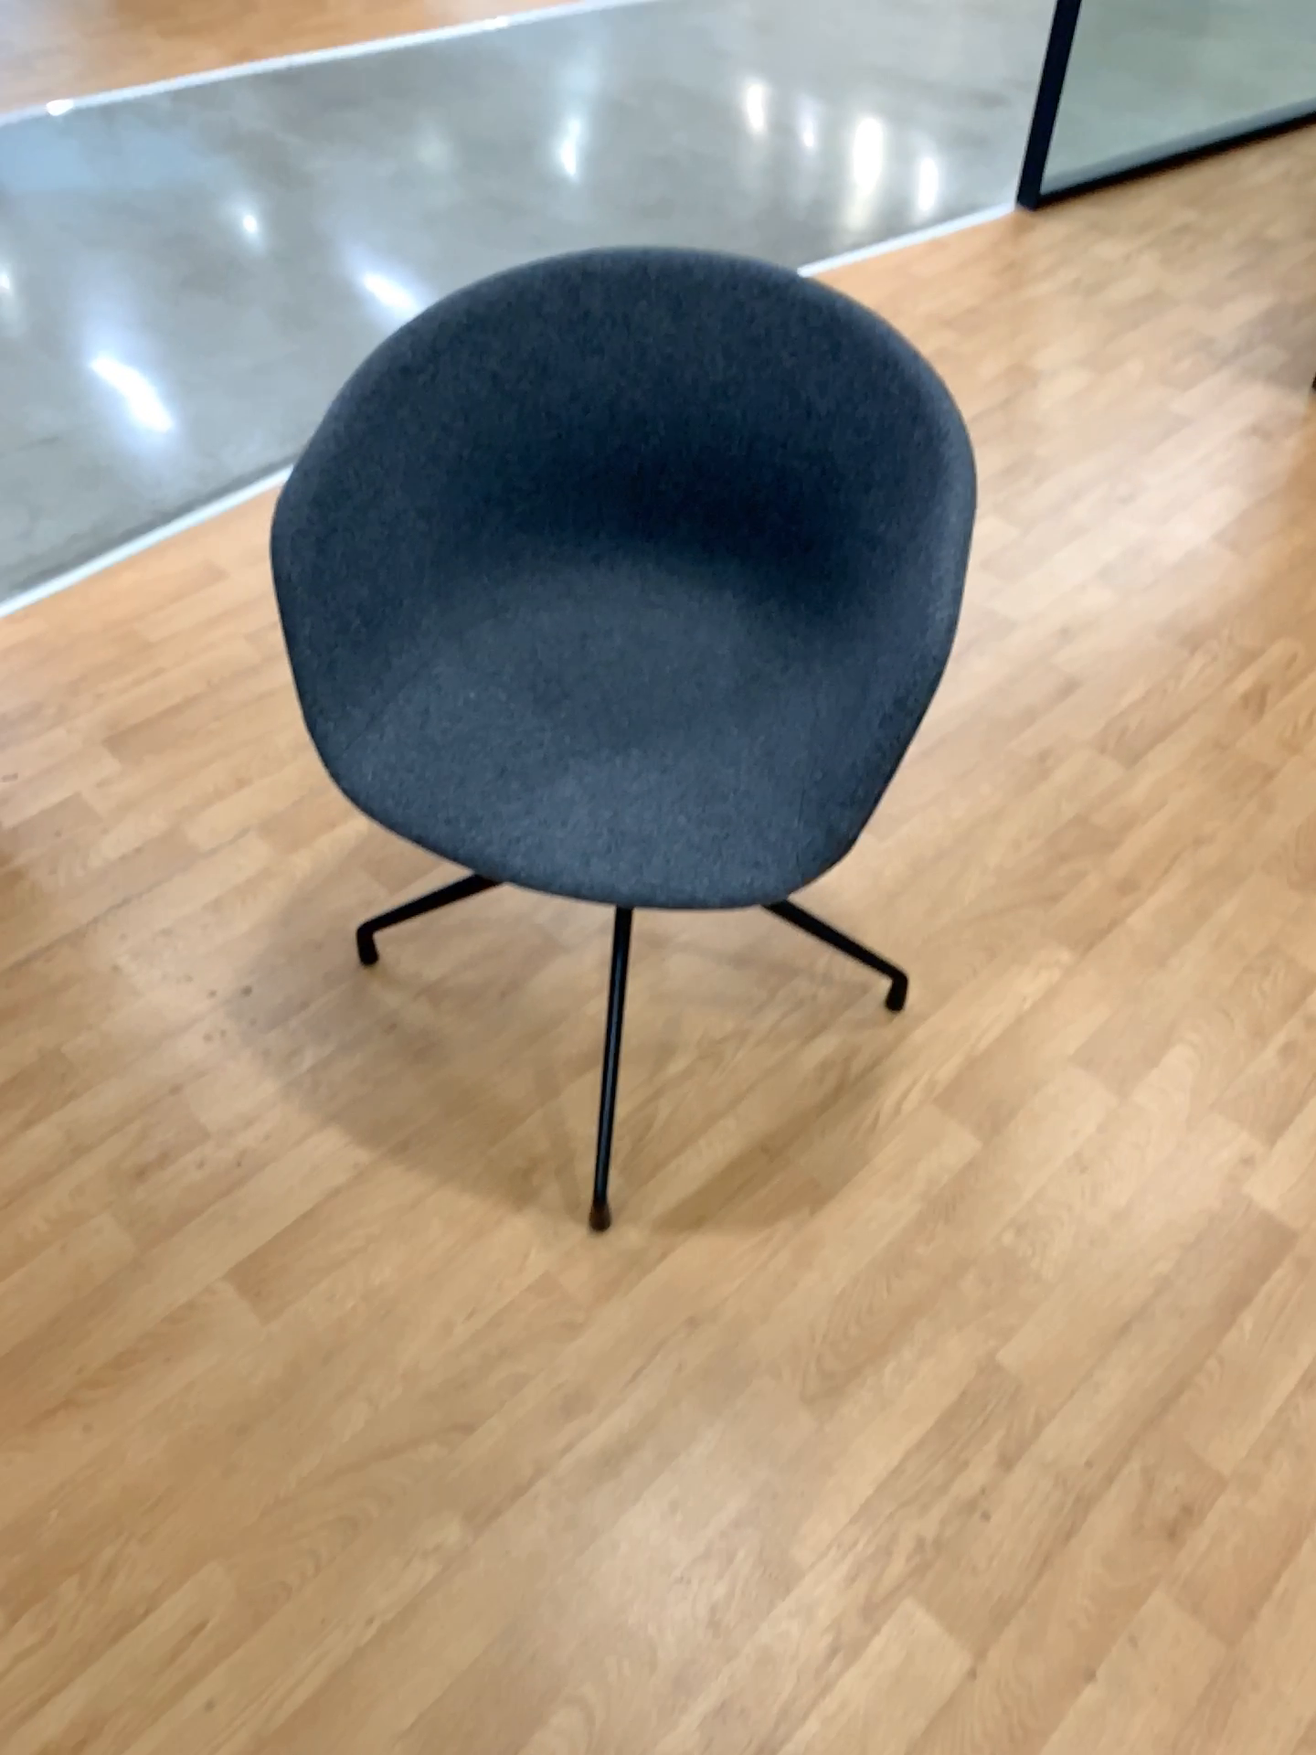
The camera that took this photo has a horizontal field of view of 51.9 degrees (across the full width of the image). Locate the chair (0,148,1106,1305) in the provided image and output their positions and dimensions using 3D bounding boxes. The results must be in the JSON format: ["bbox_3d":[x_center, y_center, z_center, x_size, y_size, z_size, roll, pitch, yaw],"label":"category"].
[{"bbox_3d":[-0.052,-0.178,1.331,0.711,0.685,0.735,15,48,13],"label":"chair"}]
